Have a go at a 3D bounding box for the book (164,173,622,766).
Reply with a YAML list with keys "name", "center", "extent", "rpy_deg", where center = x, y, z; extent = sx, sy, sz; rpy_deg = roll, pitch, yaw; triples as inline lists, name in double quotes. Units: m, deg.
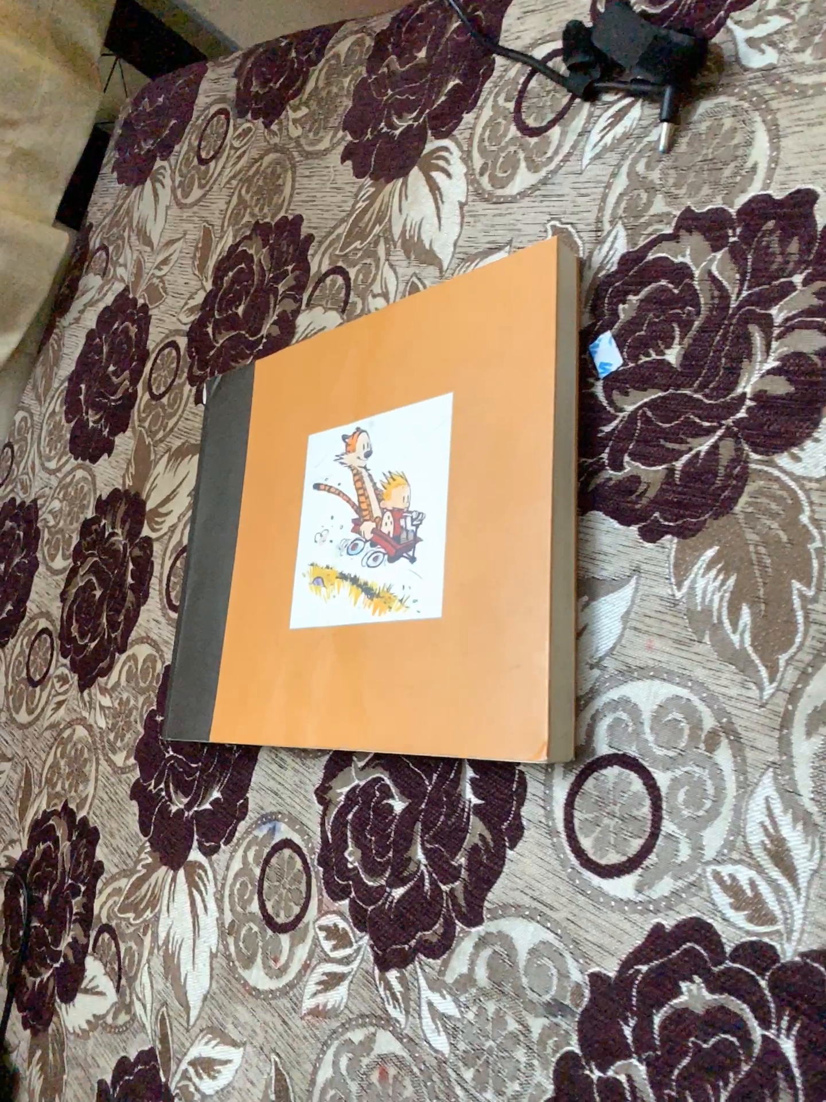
- name: "book"
  center: [-0.022, -0.027, 0.455]
  extent: [0.271, 0.040, 0.260]
  rpy_deg: [-9, 70, 41]
